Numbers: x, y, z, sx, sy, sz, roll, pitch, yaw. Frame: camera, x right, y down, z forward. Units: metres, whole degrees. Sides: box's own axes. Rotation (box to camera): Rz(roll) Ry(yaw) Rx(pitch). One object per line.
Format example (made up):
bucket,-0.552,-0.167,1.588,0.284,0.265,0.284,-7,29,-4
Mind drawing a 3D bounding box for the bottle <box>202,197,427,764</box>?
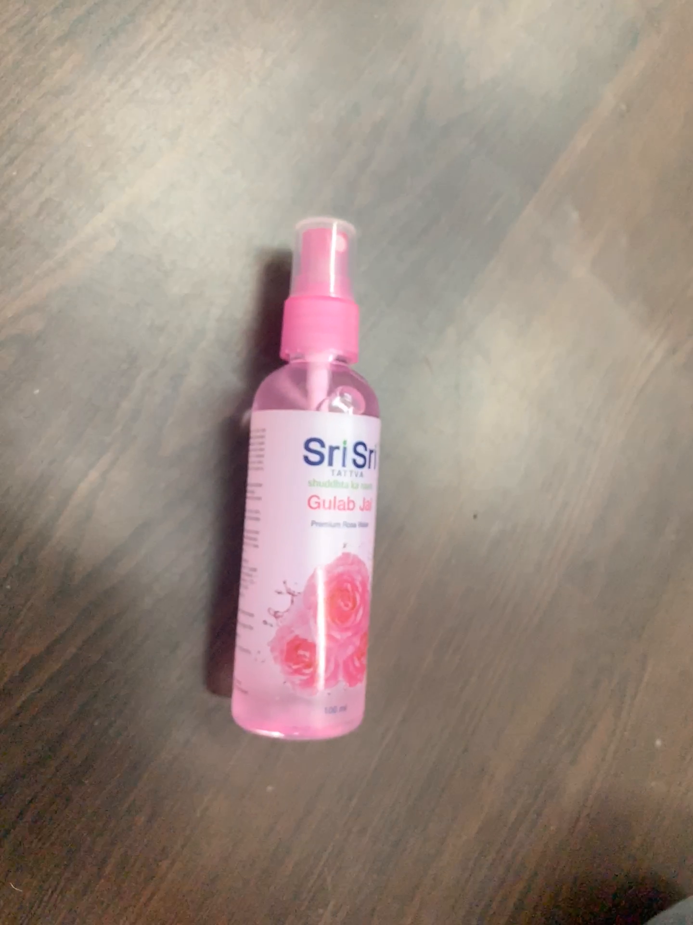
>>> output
bottle,-0.010,0.005,0.207,0.040,0.040,0.140,5,88,-26
